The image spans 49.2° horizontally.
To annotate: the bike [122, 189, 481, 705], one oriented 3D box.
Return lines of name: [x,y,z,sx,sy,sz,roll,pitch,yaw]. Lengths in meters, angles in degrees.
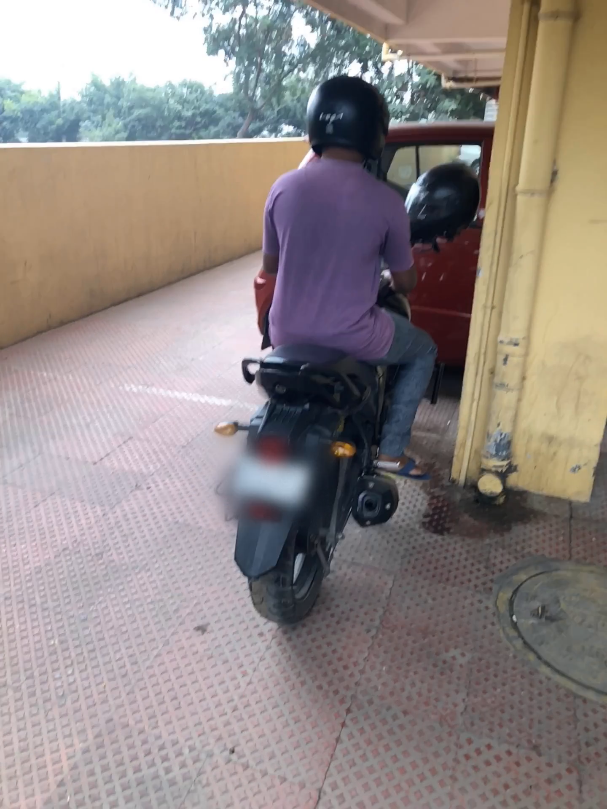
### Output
bike: [0.115,-0.116,2.612,0.852,1.155,1.916,5,24,9]
